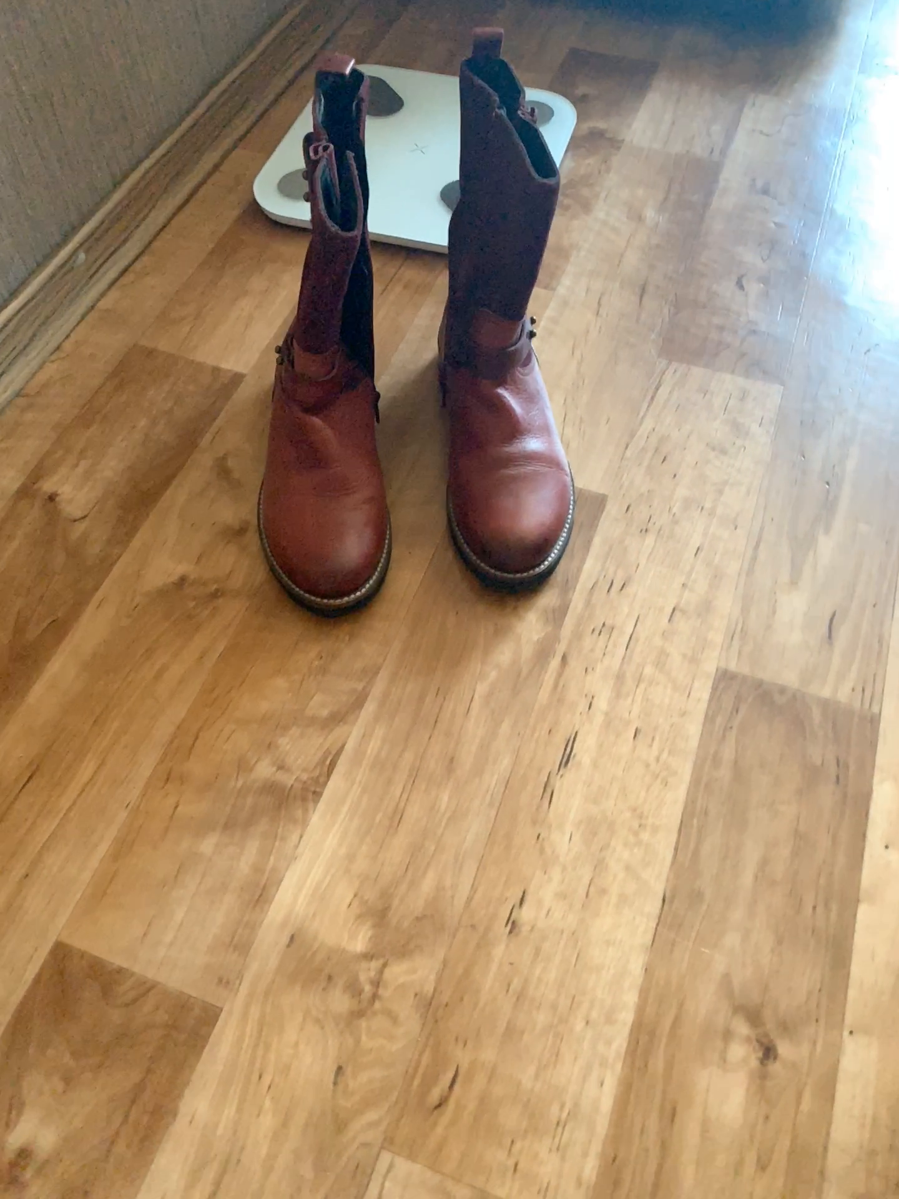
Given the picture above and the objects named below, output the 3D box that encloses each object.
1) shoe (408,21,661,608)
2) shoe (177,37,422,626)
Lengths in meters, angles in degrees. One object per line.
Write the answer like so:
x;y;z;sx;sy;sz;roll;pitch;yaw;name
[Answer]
0.036;-0.169;0.572;0.090;0.239;0.251;-6;56;-3;shoe
-0.083;-0.160;0.582;0.100;0.249;0.251;-6;56;-3;shoe
